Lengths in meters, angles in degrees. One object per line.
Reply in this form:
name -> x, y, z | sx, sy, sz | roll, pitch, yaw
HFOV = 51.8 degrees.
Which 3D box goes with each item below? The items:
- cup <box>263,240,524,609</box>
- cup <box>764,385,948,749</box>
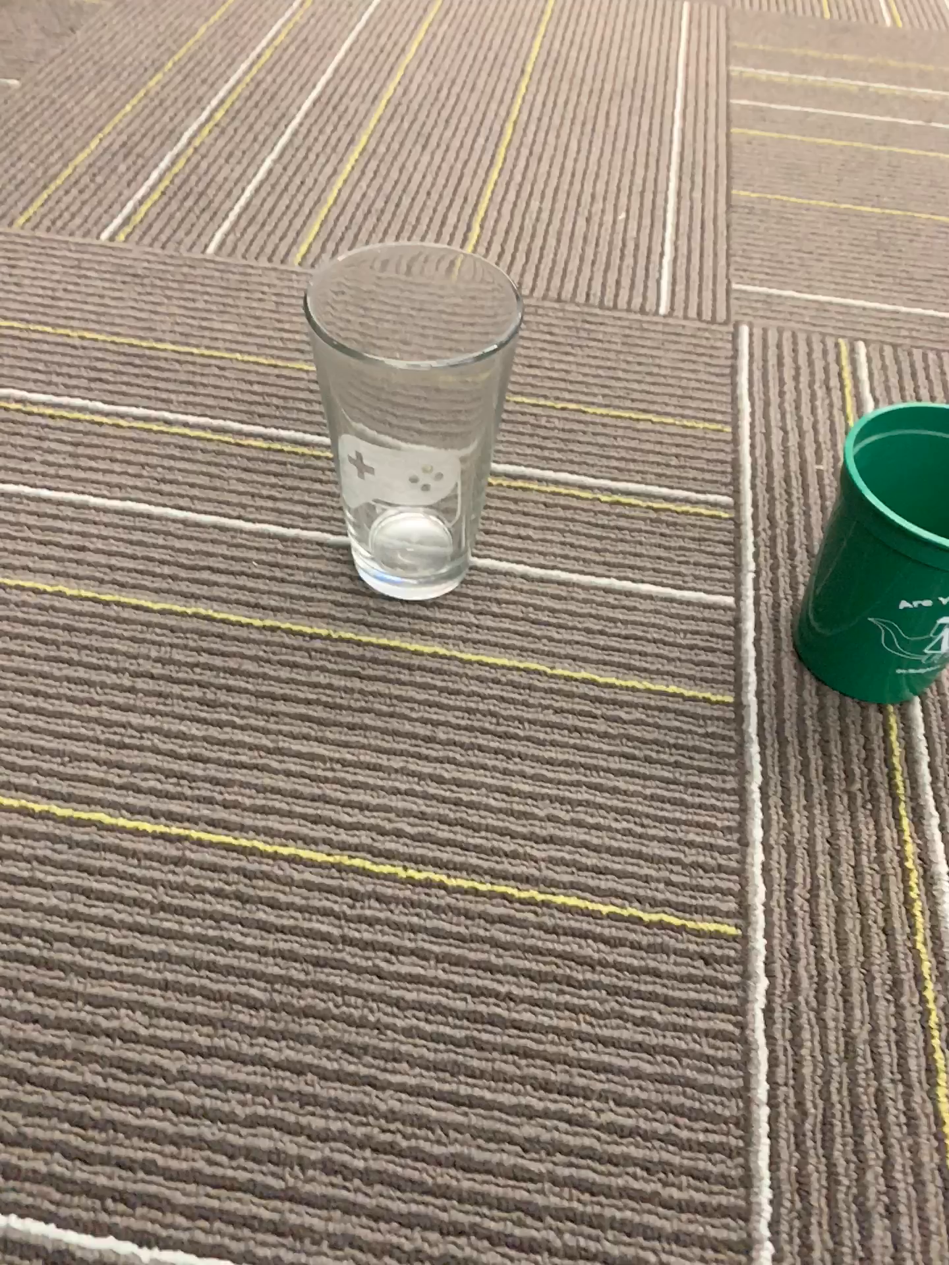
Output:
cup -> -0.031, -0.084, 0.412 | 0.090, 0.119, 0.090 | 2, 50, -2
cup -> 0.178, -0.025, 0.414 | 0.070, 0.119, 0.080 | 14, 50, 9
